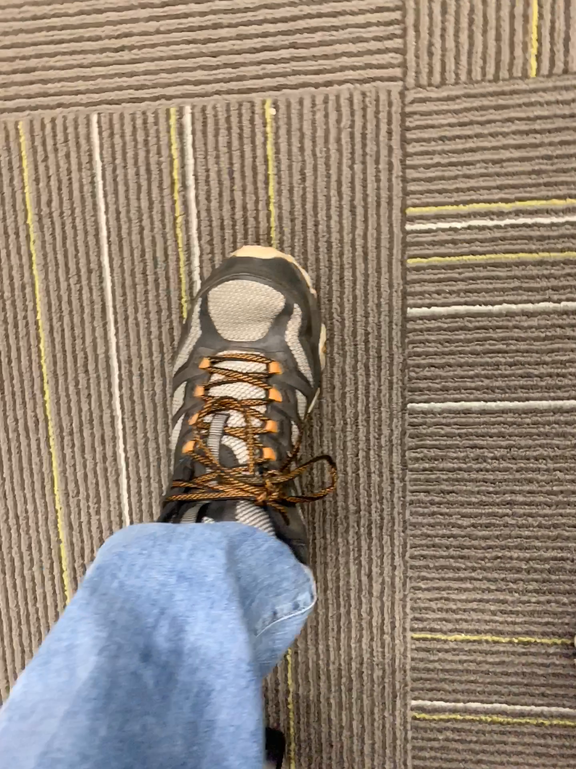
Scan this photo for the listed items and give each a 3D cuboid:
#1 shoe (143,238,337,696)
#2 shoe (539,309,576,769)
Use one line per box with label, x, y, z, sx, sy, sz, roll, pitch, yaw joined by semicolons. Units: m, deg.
shoe;-0.034;0.058;0.459;0.125;0.095;0.323;3;100;6
shoe;0.328;0.121;0.426;0.122;0.095;0.322;23;102;2
